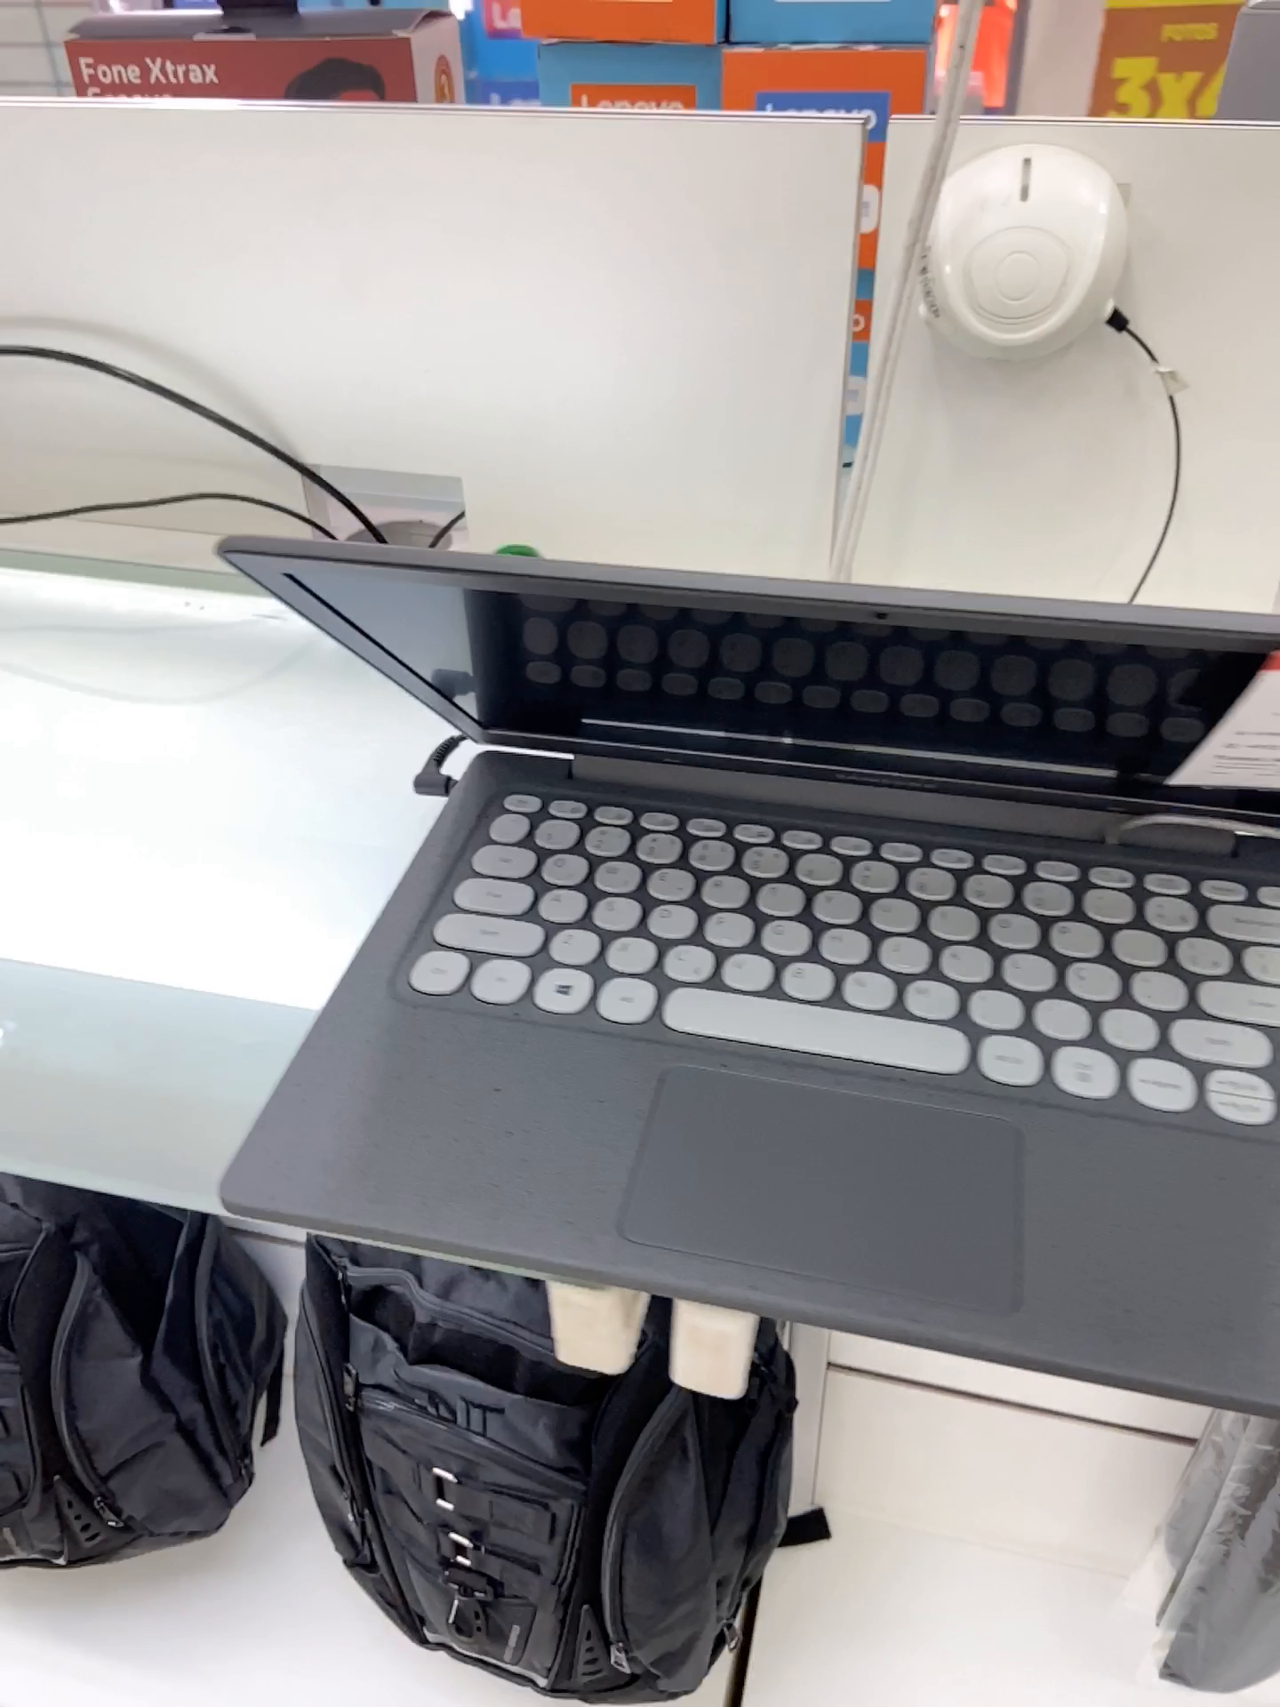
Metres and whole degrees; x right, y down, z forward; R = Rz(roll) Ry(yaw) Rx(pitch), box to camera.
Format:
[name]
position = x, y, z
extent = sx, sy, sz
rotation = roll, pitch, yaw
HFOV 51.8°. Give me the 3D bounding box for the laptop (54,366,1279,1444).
[laptop]
position = 0.063, -0.013, 0.353
extent = 0.311, 0.153, 0.209
rotation = 7, 39, 12
